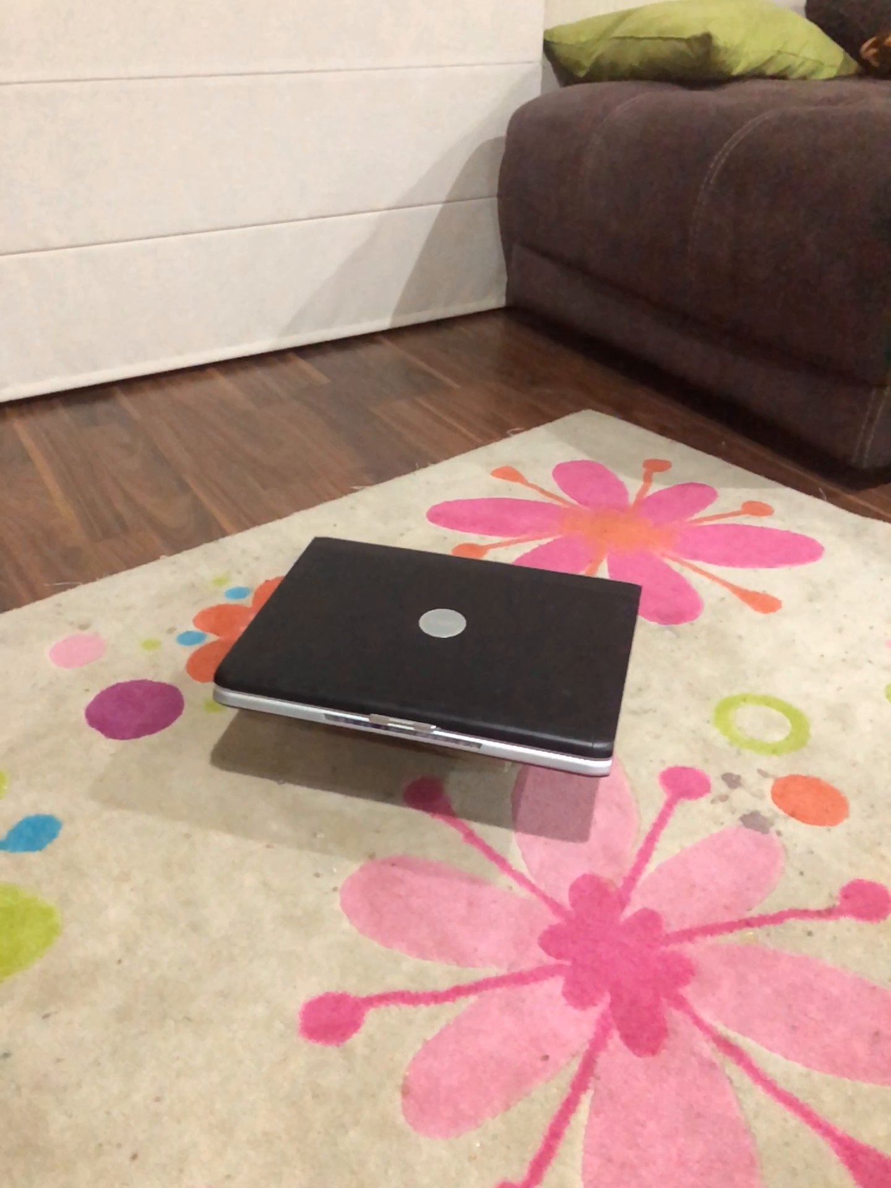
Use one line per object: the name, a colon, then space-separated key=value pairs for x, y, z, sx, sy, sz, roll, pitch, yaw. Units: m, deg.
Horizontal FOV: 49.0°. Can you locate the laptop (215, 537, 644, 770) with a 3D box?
laptop: x=-0.006 y=0.040 z=0.917 sx=0.353 sy=0.015 sz=0.233 roll=8 pitch=39 yaw=15
